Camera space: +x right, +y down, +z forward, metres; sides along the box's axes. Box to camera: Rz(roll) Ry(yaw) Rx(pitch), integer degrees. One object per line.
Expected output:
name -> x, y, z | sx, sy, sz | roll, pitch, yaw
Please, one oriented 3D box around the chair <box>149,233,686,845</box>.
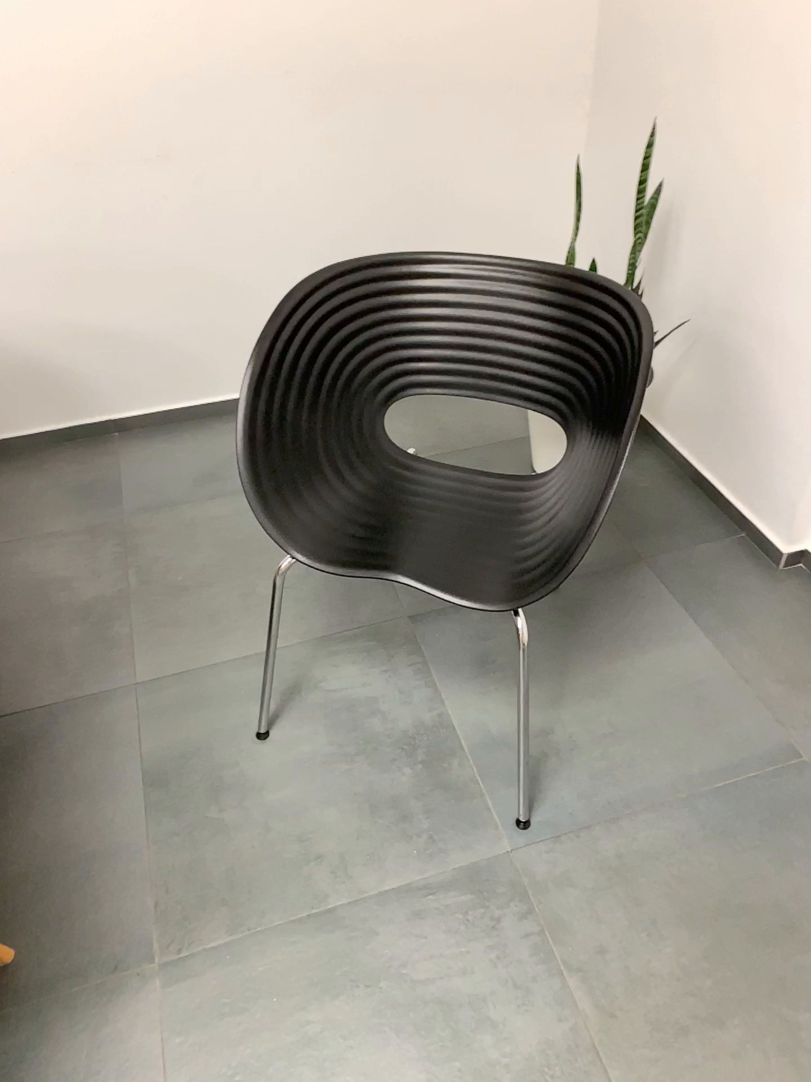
chair -> 0.071, -0.031, 1.544 | 0.650, 0.796, 0.643 | 13, 42, 18
